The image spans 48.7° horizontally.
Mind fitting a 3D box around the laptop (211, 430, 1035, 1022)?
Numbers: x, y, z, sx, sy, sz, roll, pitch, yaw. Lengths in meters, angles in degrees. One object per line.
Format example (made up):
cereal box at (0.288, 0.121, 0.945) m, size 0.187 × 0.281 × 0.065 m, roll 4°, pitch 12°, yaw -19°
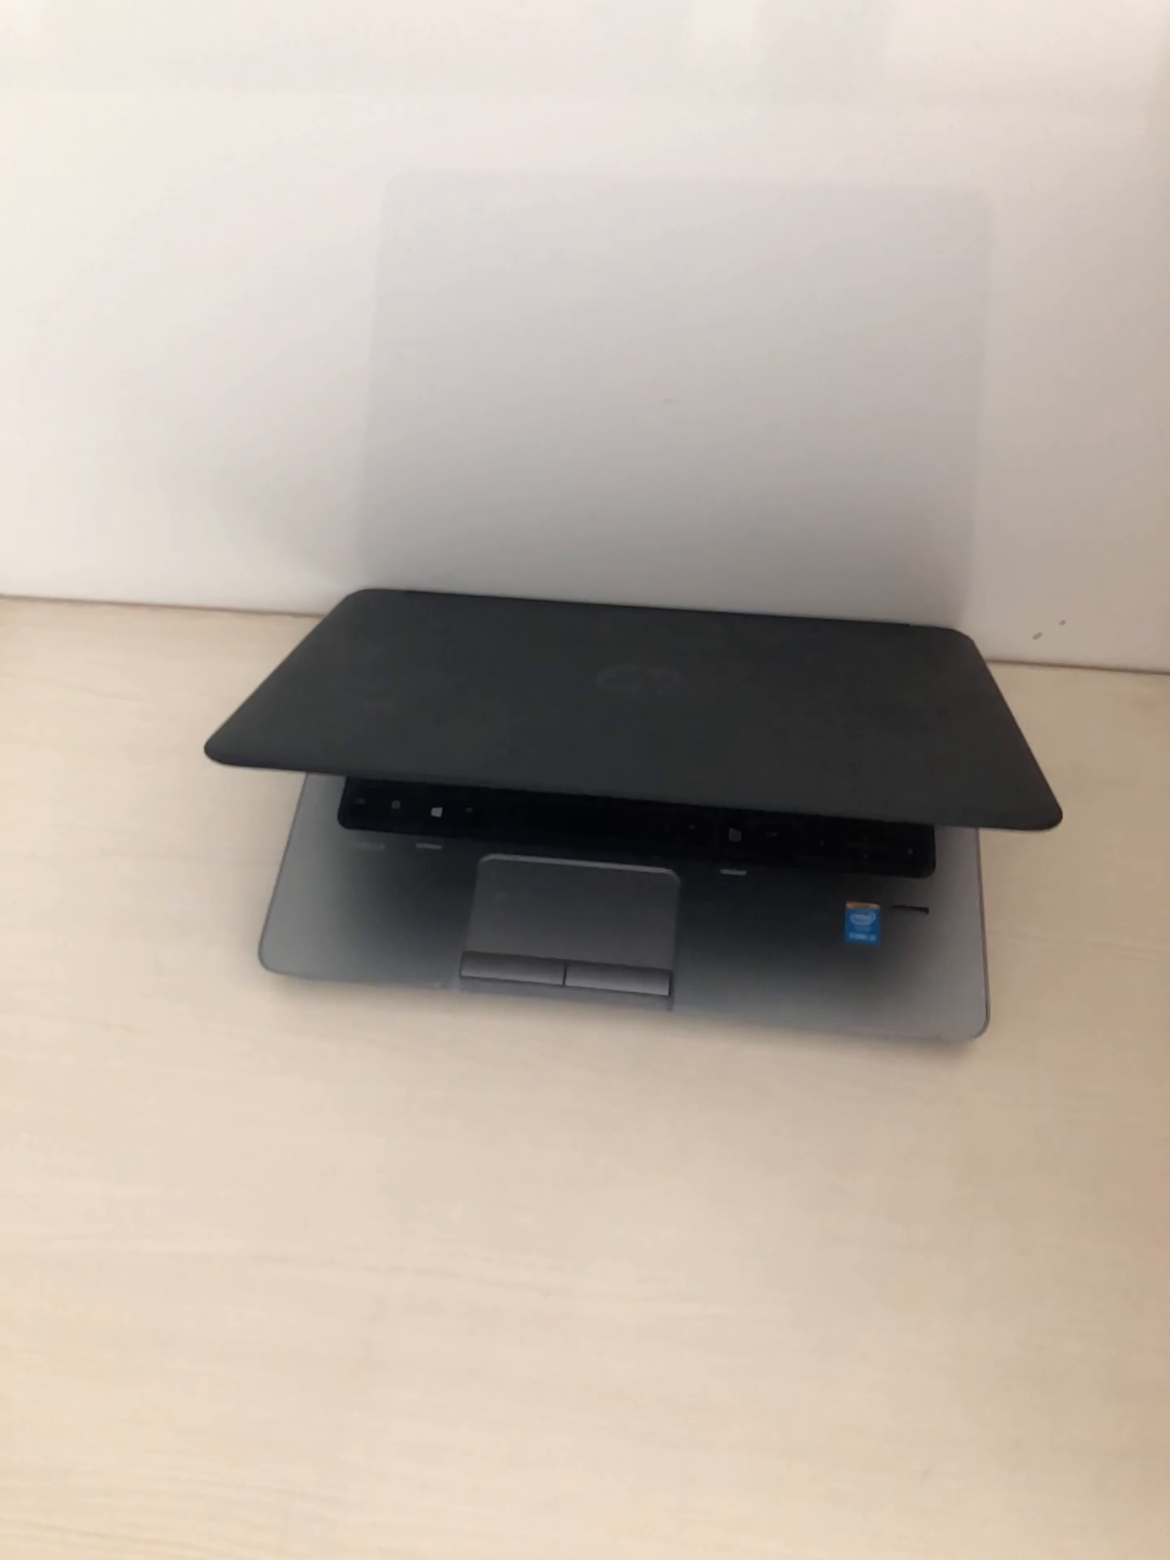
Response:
laptop at (0.025, -0.029, 0.606) m, size 0.319 × 0.118 × 0.220 m, roll 5°, pitch 58°, yaw 4°
